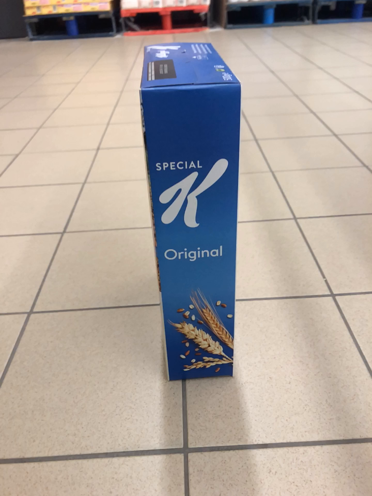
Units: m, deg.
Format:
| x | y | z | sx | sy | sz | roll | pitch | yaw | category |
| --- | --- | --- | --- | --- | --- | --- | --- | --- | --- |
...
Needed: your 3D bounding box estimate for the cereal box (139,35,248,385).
| x | y | z | sx | sy | sz | roll | pitch | yaw | category |
| --- | --- | --- | --- | --- | --- | --- | --- | --- | --- |
| 0.005 | -0.044 | 0.432 | 0.070 | 0.298 | 0.211 | -4 | 33 | -2 | cereal box |
